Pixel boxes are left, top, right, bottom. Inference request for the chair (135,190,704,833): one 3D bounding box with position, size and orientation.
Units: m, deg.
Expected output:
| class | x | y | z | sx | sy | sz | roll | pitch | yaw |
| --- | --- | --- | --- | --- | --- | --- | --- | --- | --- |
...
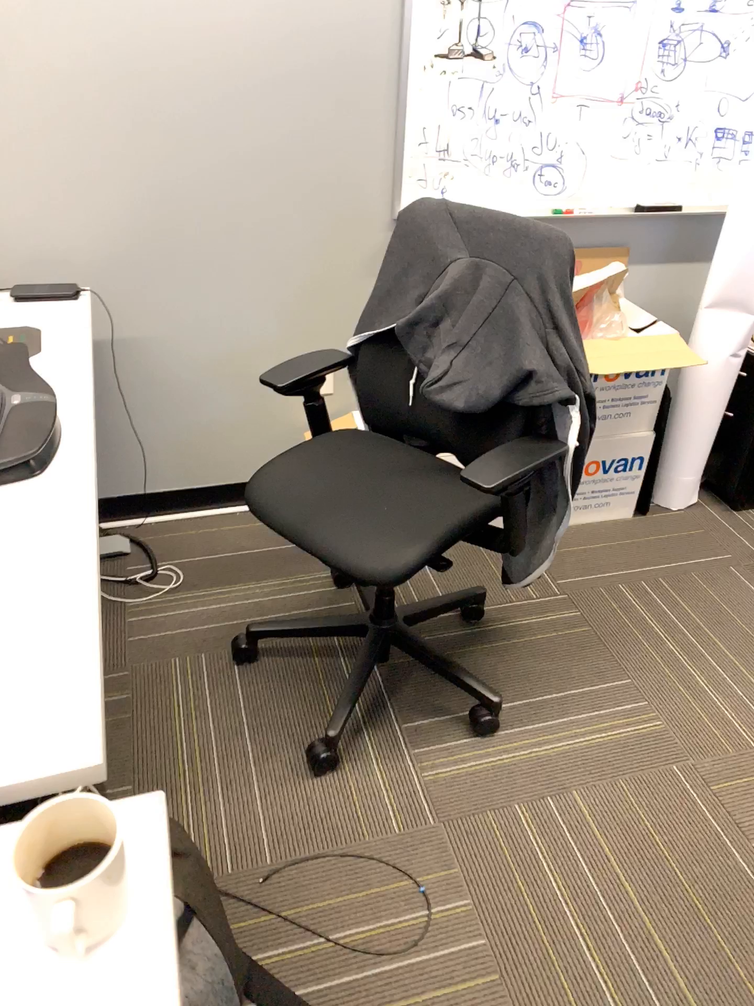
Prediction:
| class | x | y | z | sx | sy | sz | roll | pitch | yaw |
| --- | --- | --- | --- | --- | --- | --- | --- | --- | --- |
| chair | 0.041 | -0.055 | 1.702 | 0.731 | 0.994 | 0.773 | -22 | 41 | -33 |
